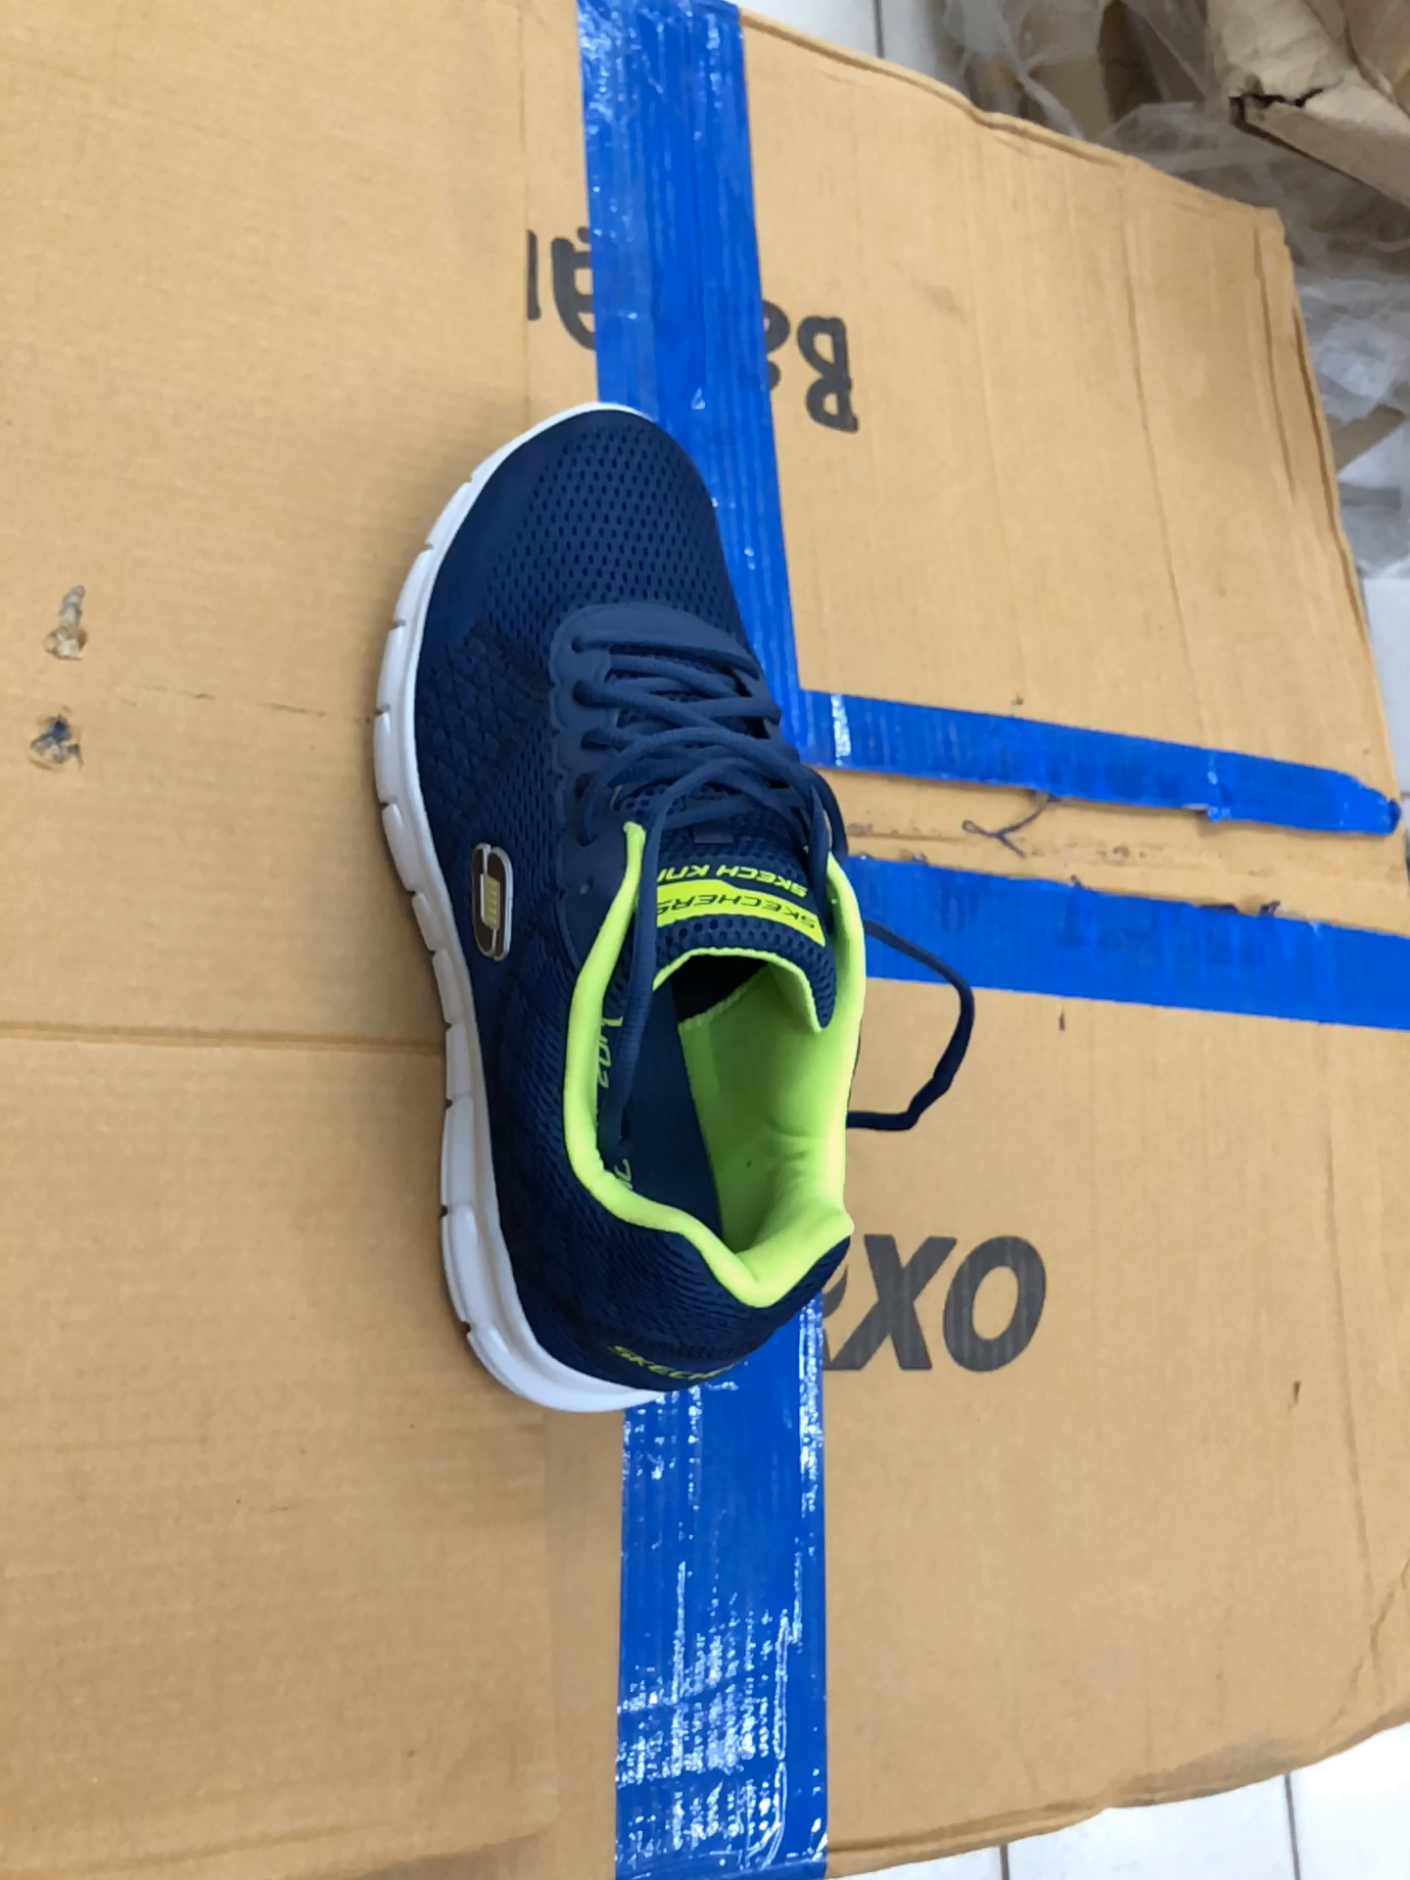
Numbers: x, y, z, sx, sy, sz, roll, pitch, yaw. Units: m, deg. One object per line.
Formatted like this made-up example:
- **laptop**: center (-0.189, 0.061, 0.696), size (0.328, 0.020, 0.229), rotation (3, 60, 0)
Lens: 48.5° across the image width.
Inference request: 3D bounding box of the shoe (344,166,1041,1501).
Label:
- **shoe**: center (-0.017, -0.020, 0.409), size (0.110, 0.129, 0.290), rotation (1, 77, -27)
